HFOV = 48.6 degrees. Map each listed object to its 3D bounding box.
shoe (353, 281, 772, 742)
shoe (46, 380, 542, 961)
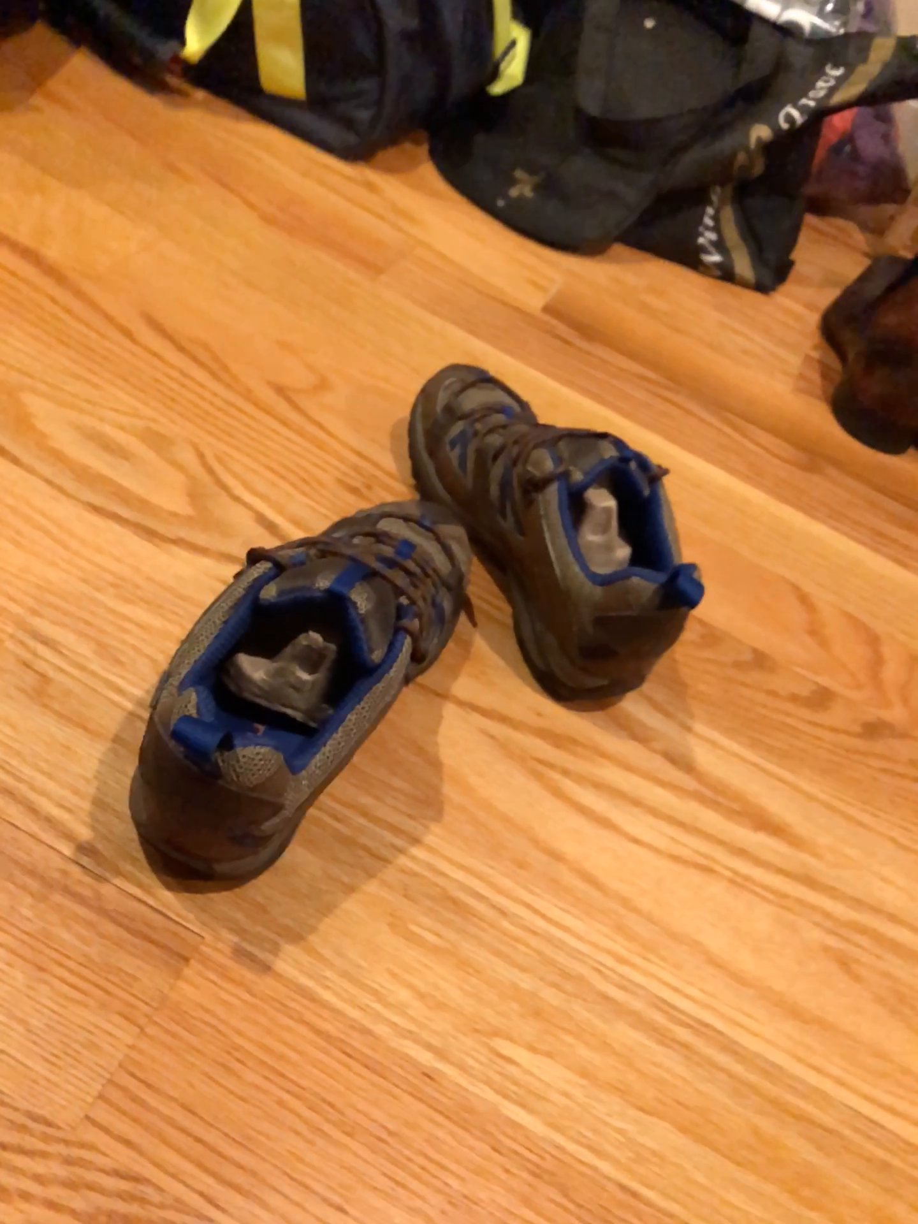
[{"bbox_3d":[0.043,-0.067,0.563,0.097,0.094,0.252,-9,54,-30],"label":"shoe"},{"bbox_3d":[-0.064,0.012,0.459,0.094,0.106,0.241,30,45,4],"label":"shoe"}]
